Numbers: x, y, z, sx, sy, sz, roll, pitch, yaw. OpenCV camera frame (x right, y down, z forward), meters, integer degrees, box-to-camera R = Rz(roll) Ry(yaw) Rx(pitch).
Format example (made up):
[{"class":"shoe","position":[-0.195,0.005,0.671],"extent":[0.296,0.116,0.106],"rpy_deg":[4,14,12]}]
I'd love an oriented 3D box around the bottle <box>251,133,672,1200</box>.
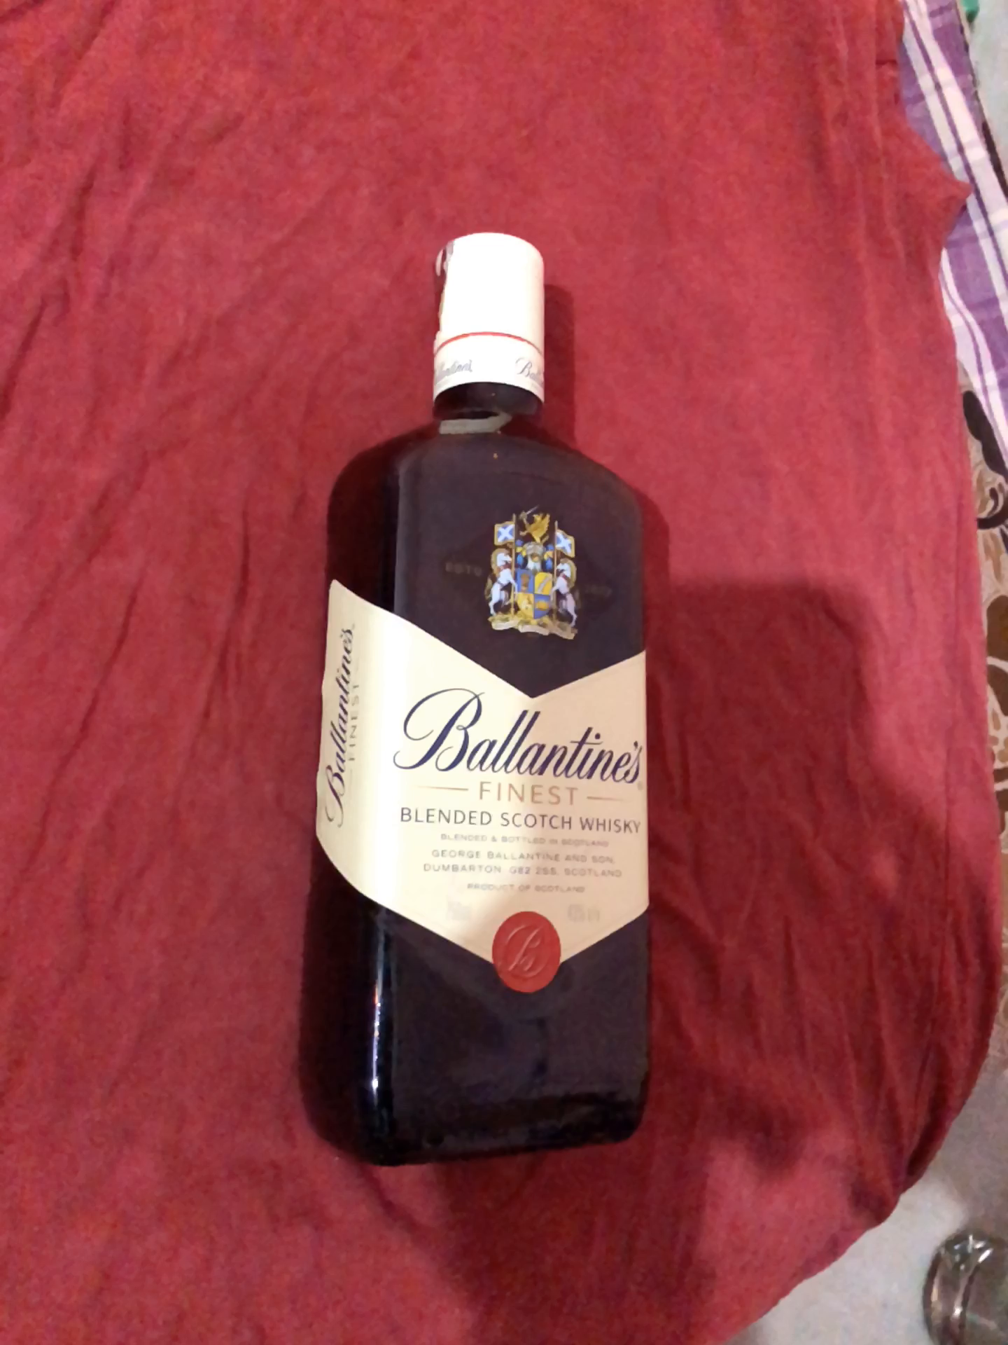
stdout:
[{"class":"bottle","position":[-0.008,-0.003,0.303],"extent":[0.090,0.050,0.250],"rpy_deg":[7,80,-30]}]
